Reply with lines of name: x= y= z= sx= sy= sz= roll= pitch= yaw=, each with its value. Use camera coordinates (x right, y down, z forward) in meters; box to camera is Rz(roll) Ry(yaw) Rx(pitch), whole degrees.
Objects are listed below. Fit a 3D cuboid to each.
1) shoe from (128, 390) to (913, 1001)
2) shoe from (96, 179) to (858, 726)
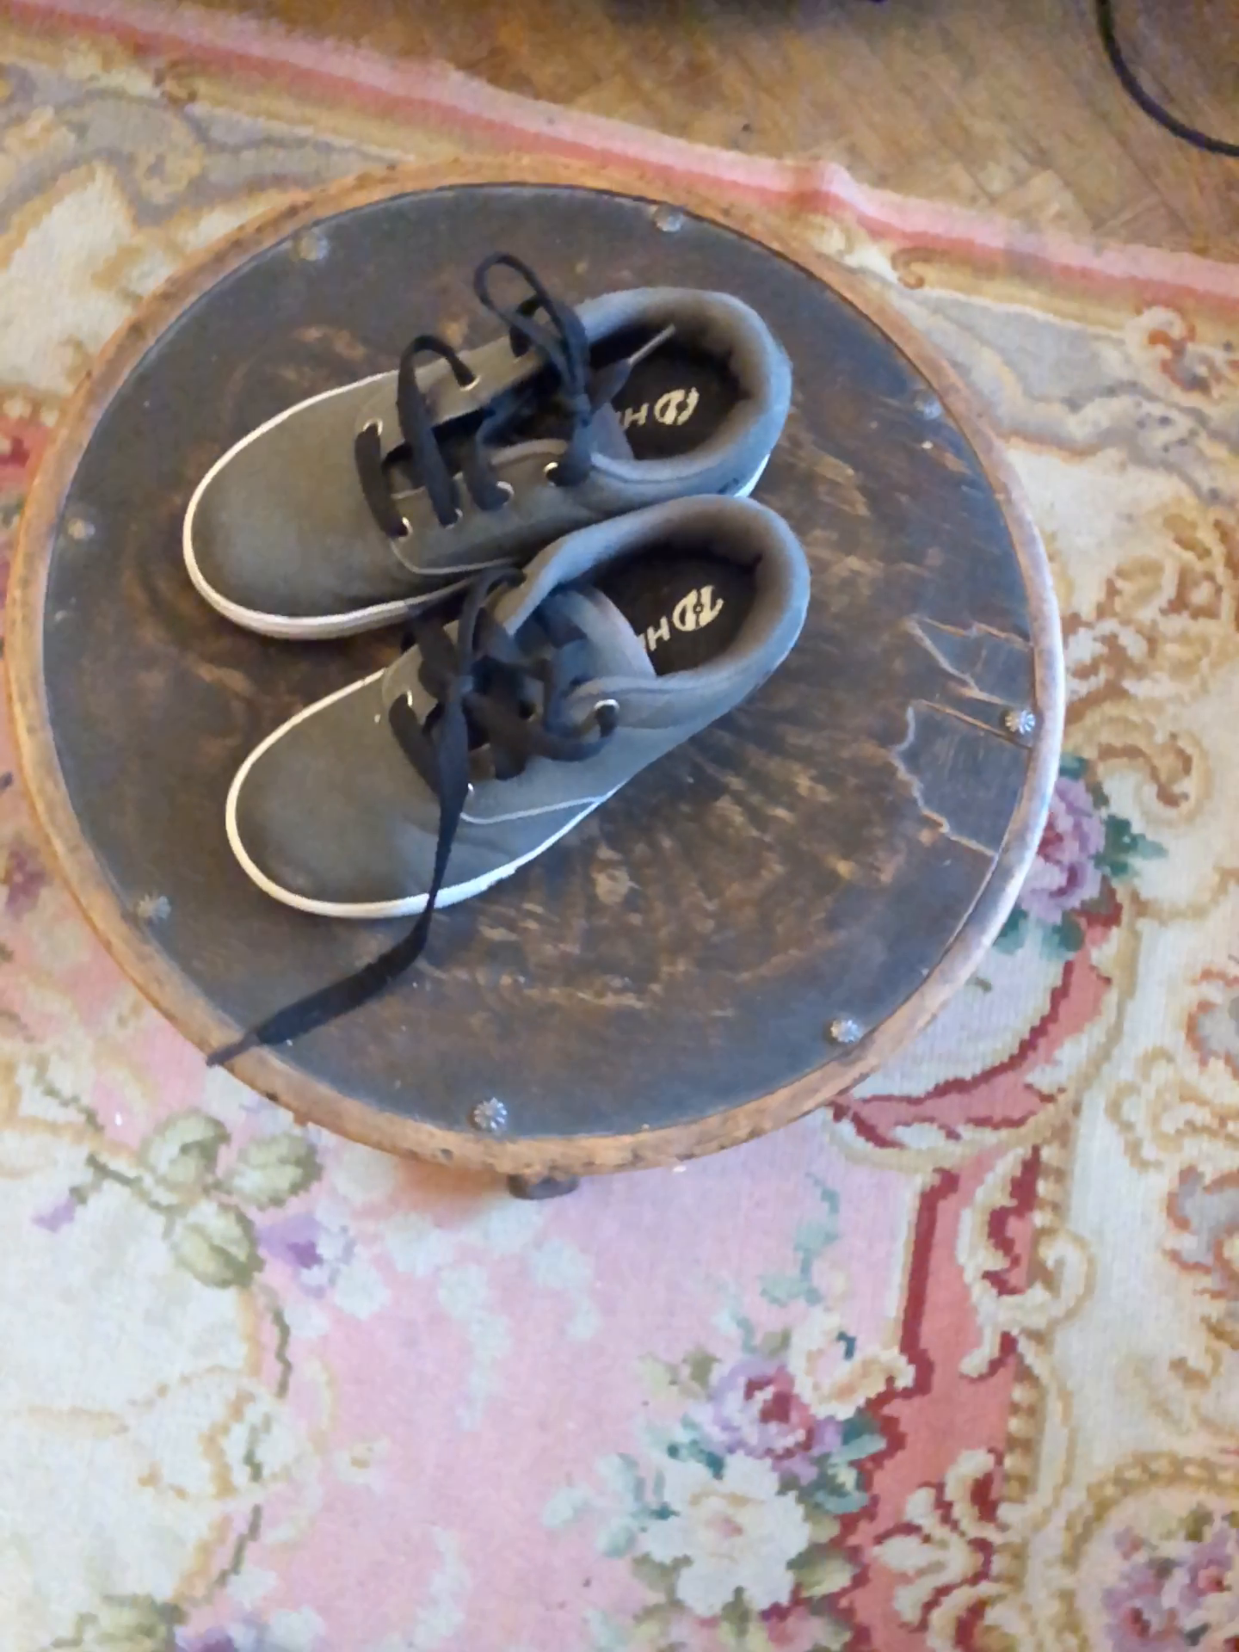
shoe: x=-0.030 y=-0.036 z=0.446 sx=0.211 sy=0.100 sz=0.090 roll=-30 pitch=87 yaw=-10
shoe: x=-0.045 y=-0.121 z=0.463 sx=0.211 sy=0.100 sz=0.090 roll=-21 pitch=85 yaw=-10
